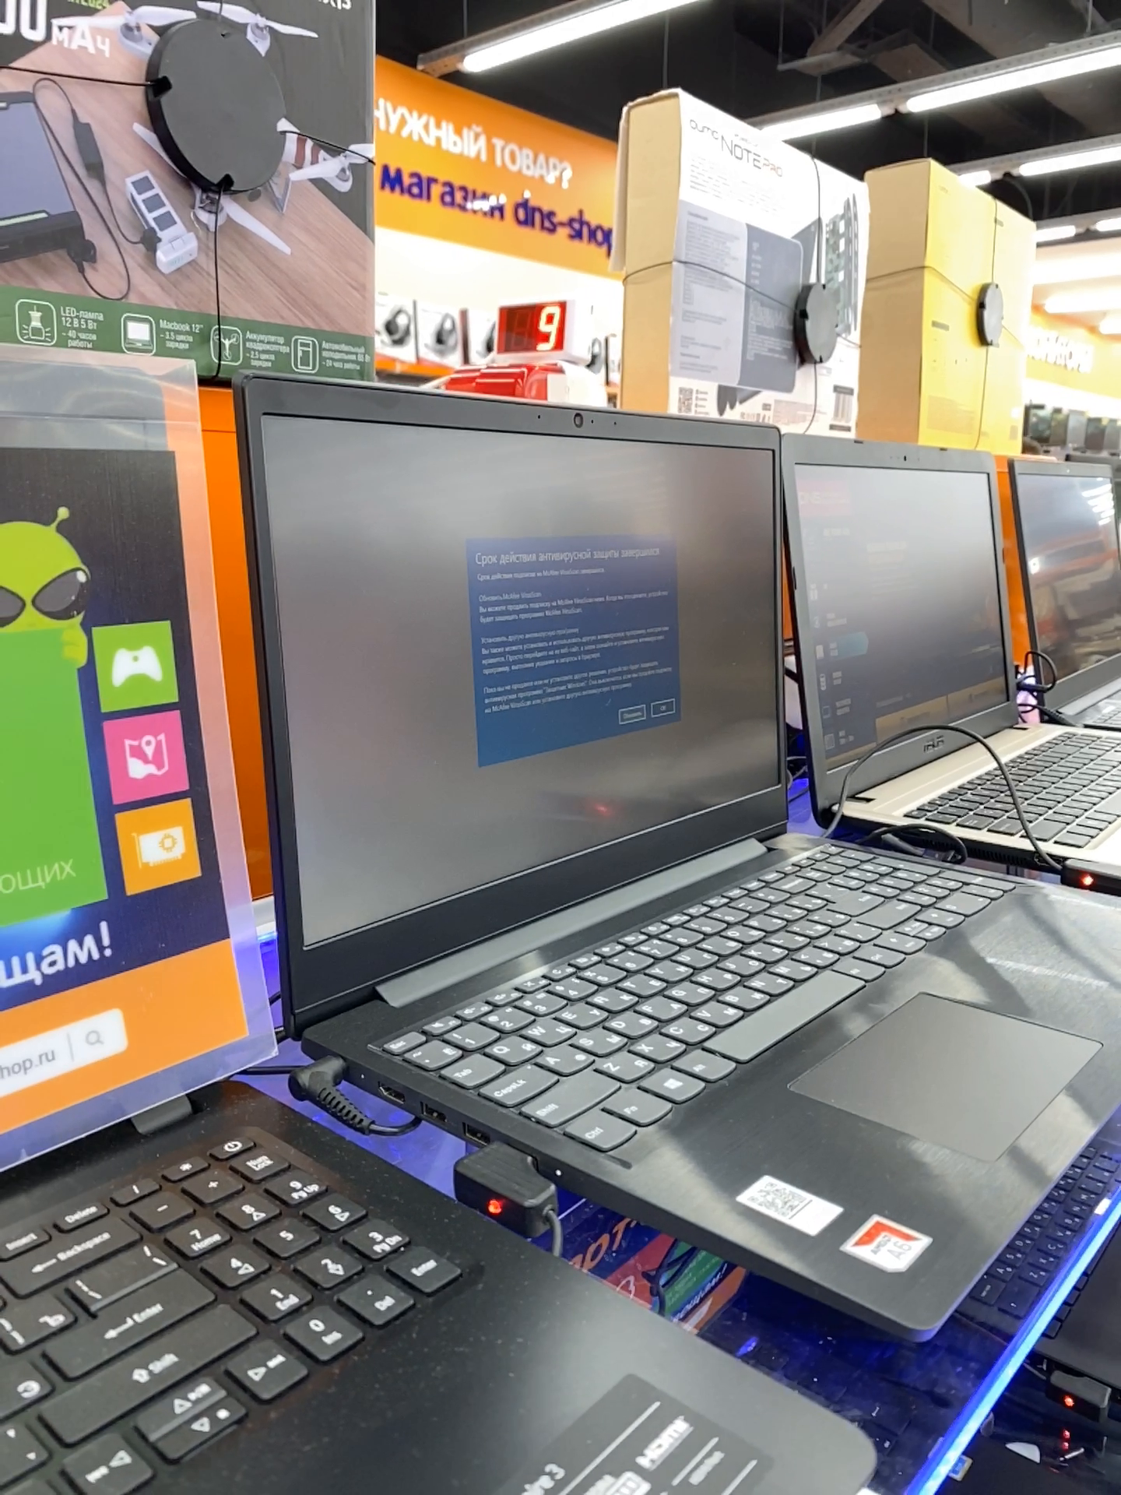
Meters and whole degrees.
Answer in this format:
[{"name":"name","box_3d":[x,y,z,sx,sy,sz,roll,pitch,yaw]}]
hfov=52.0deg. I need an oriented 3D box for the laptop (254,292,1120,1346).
[{"name":"laptop","box_3d":[0.111,-0.021,0.476,0.273,0.240,0.361,10,15,41]}]
